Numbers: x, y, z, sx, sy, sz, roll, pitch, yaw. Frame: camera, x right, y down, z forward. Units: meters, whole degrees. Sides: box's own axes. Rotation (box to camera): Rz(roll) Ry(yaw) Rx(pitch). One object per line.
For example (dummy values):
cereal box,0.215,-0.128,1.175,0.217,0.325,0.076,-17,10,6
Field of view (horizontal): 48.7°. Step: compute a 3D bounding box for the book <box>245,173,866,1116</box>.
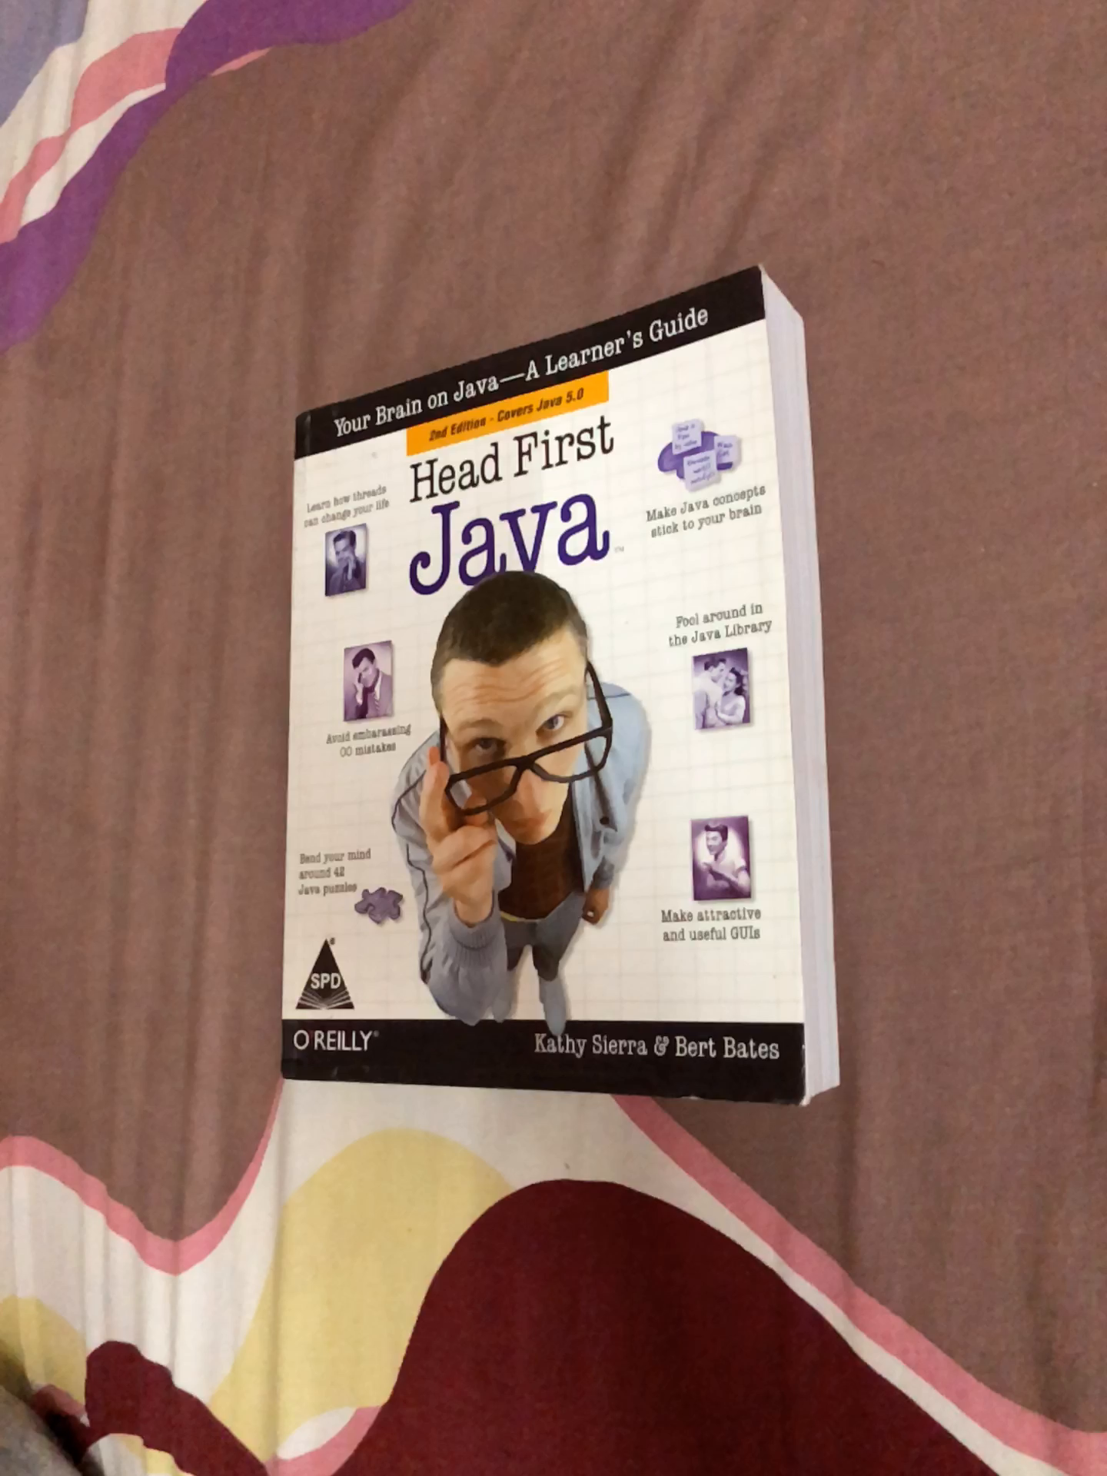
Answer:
book,-0.007,-0.020,0.396,0.191,0.050,0.260,-7,77,31
